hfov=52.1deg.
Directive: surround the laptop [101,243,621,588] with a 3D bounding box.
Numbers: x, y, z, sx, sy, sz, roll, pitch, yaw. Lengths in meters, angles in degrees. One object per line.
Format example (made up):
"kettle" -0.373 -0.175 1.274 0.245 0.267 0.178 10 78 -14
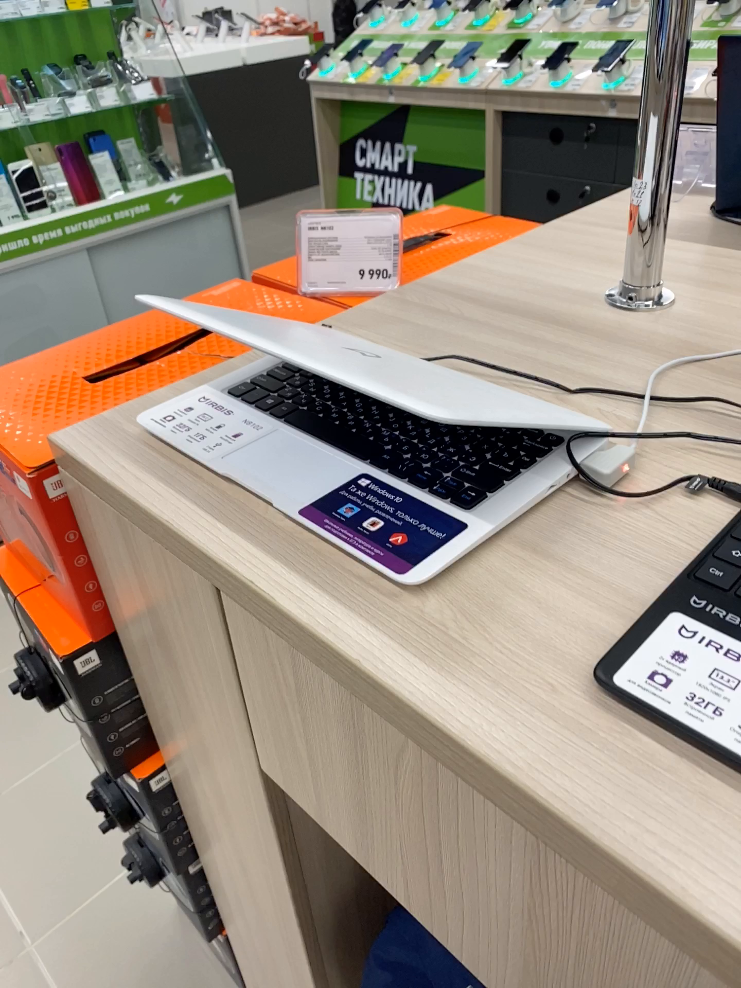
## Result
"laptop" -0.017 -0.077 0.487 0.178 0.078 0.281 -32 42 -32
